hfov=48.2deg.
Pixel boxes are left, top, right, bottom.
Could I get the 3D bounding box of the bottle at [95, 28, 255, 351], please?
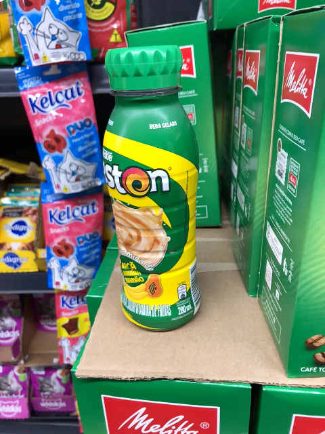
[{"bbox_3d":[0.008,-0.016,0.228,0.060,0.179,0.060,-2,24,1],"label":"bottle"}]
